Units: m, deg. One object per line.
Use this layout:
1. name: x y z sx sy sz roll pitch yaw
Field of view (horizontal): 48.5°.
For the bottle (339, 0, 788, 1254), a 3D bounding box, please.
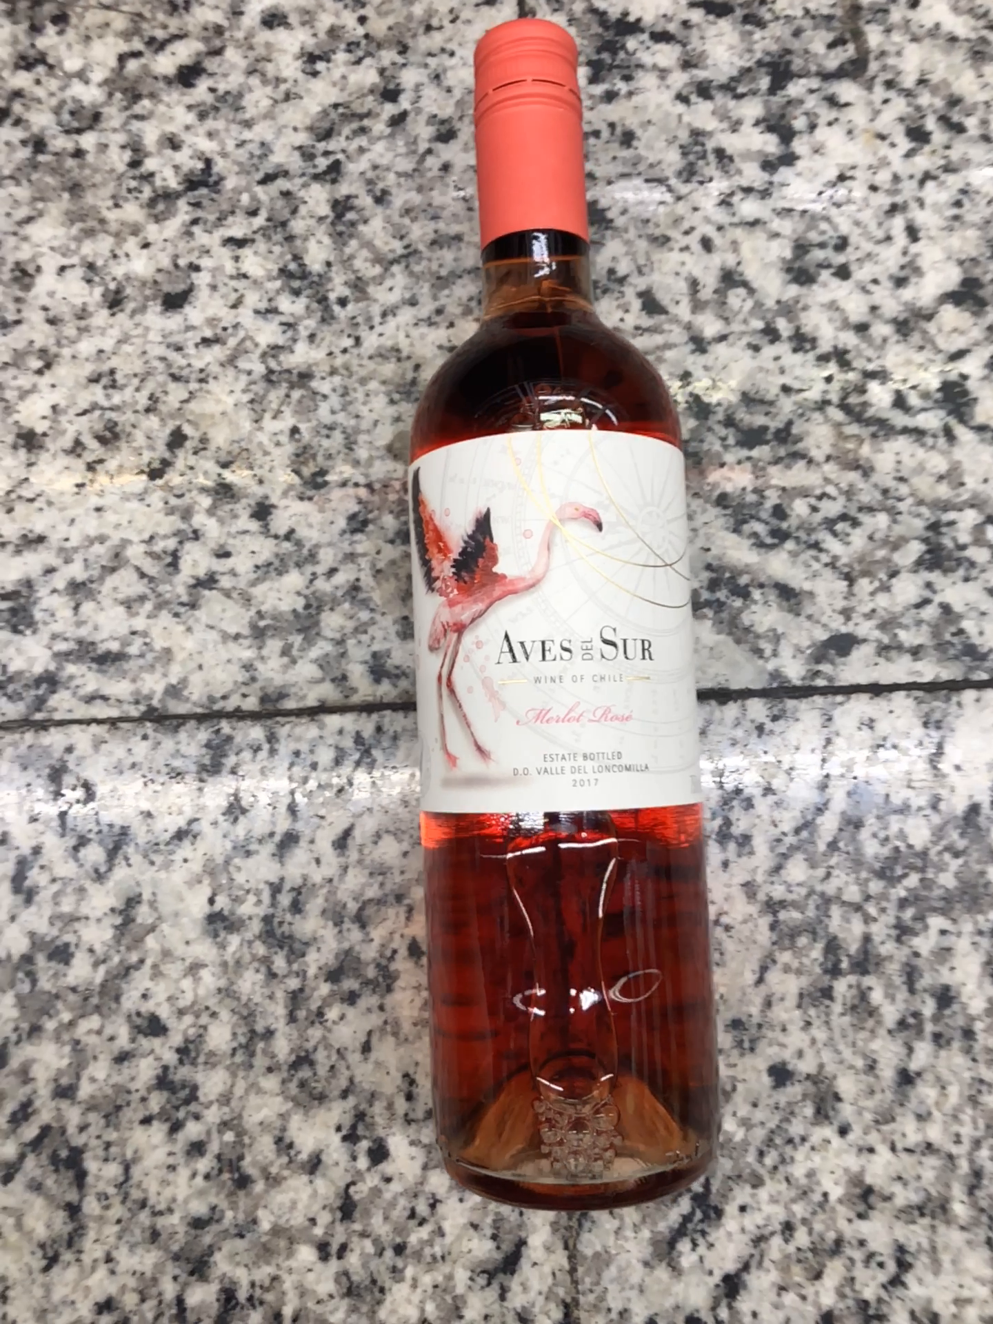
1. bottle: 0.014 -0.028 0.313 0.090 0.070 0.340 -4 84 1
